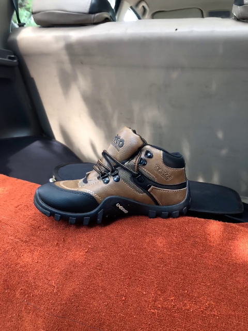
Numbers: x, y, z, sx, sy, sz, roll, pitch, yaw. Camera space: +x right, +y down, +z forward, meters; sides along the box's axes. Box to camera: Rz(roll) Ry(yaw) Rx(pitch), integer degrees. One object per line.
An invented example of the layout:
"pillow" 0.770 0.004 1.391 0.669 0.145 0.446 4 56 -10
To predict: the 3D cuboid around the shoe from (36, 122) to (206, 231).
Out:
"shoe" -0.012 0.007 0.488 0.270 0.149 0.110 -2 17 -18
